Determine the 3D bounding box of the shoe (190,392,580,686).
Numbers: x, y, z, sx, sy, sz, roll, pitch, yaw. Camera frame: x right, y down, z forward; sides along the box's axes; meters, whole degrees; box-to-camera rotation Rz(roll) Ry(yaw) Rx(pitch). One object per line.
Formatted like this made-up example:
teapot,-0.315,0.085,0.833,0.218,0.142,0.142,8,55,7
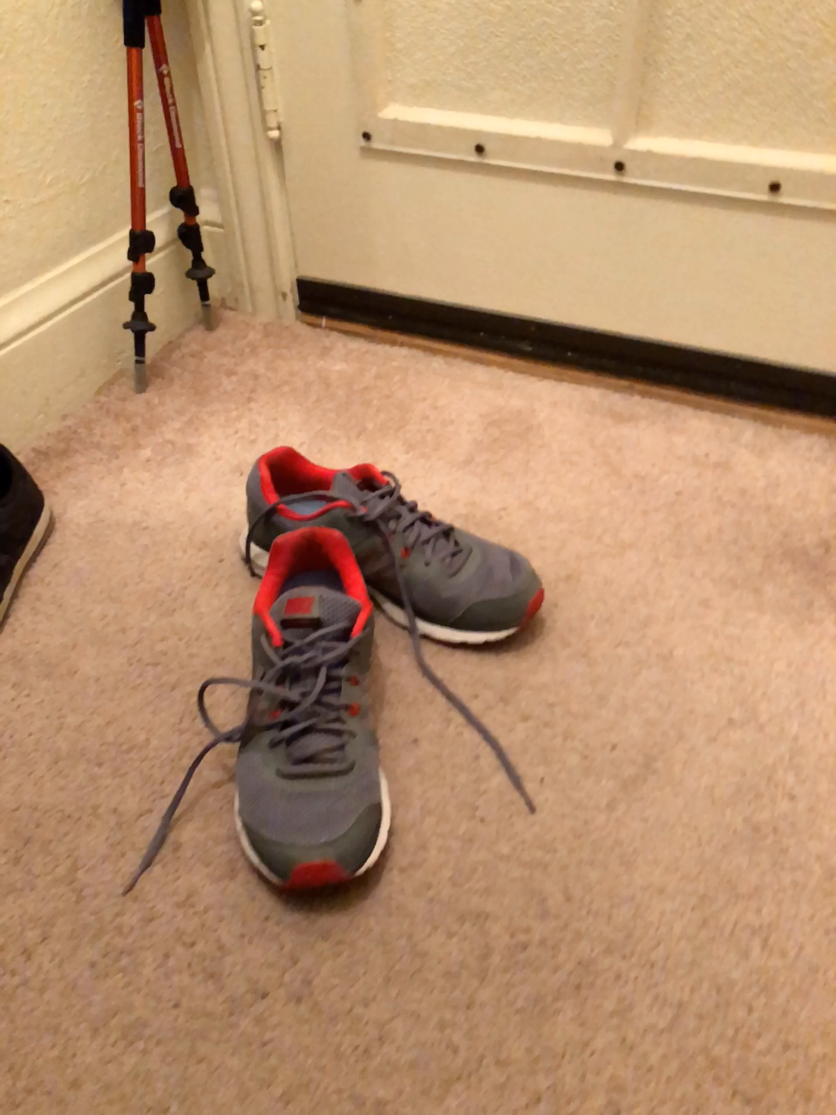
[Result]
shoe,-0.029,-0.024,0.777,0.297,0.119,0.114,20,46,23

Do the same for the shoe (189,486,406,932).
shoe,-0.069,0.090,0.652,0.113,0.119,0.299,-2,42,0
